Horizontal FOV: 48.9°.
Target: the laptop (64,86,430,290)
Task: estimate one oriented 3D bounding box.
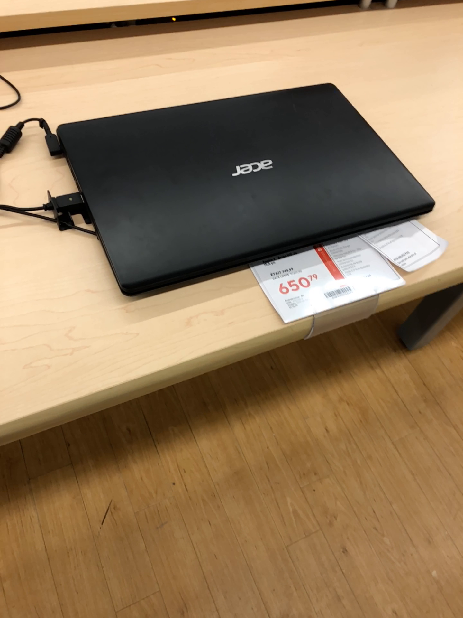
[{"bbox_3d":[0.022,-0.152,0.546,0.347,0.003,0.212,-18,62,-22],"label":"laptop"}]
